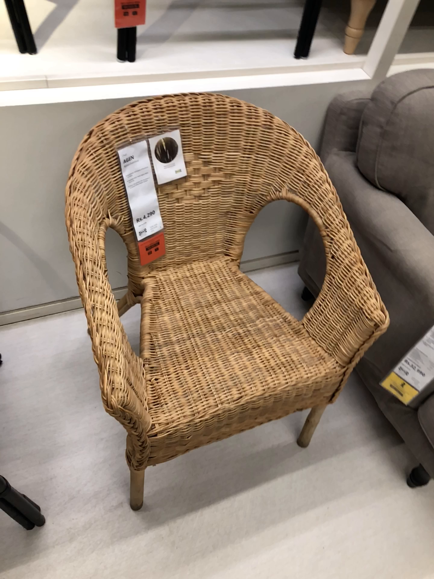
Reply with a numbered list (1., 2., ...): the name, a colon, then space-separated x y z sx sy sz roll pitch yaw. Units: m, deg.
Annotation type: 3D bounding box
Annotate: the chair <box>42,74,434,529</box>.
1. chair: 0.003 0.034 1.046 0.551 0.696 0.603 -13 55 -19
